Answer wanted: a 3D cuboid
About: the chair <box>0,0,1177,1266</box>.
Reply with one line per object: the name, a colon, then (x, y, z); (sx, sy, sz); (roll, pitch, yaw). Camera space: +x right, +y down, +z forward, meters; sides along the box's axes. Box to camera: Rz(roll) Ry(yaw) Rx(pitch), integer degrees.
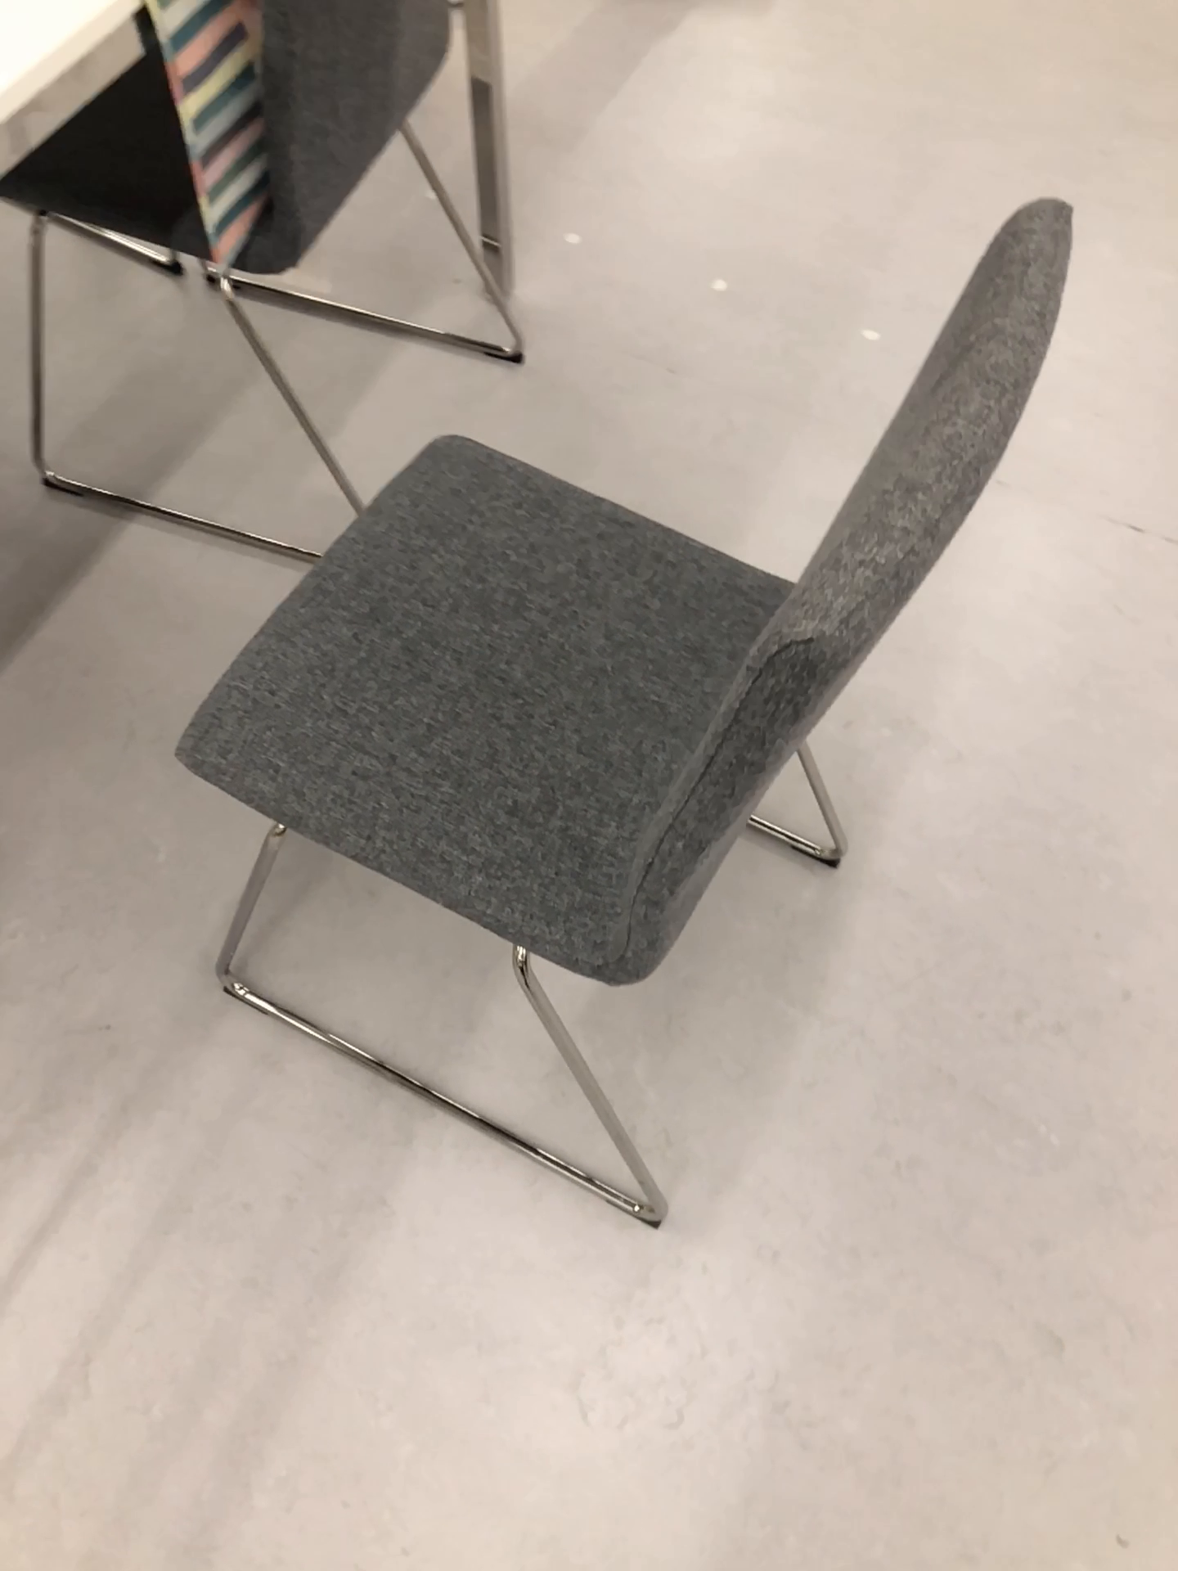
chair: (-0.041, -0.072, 1.064); (0.591, 0.836, 0.512); (25, 61, 14)
